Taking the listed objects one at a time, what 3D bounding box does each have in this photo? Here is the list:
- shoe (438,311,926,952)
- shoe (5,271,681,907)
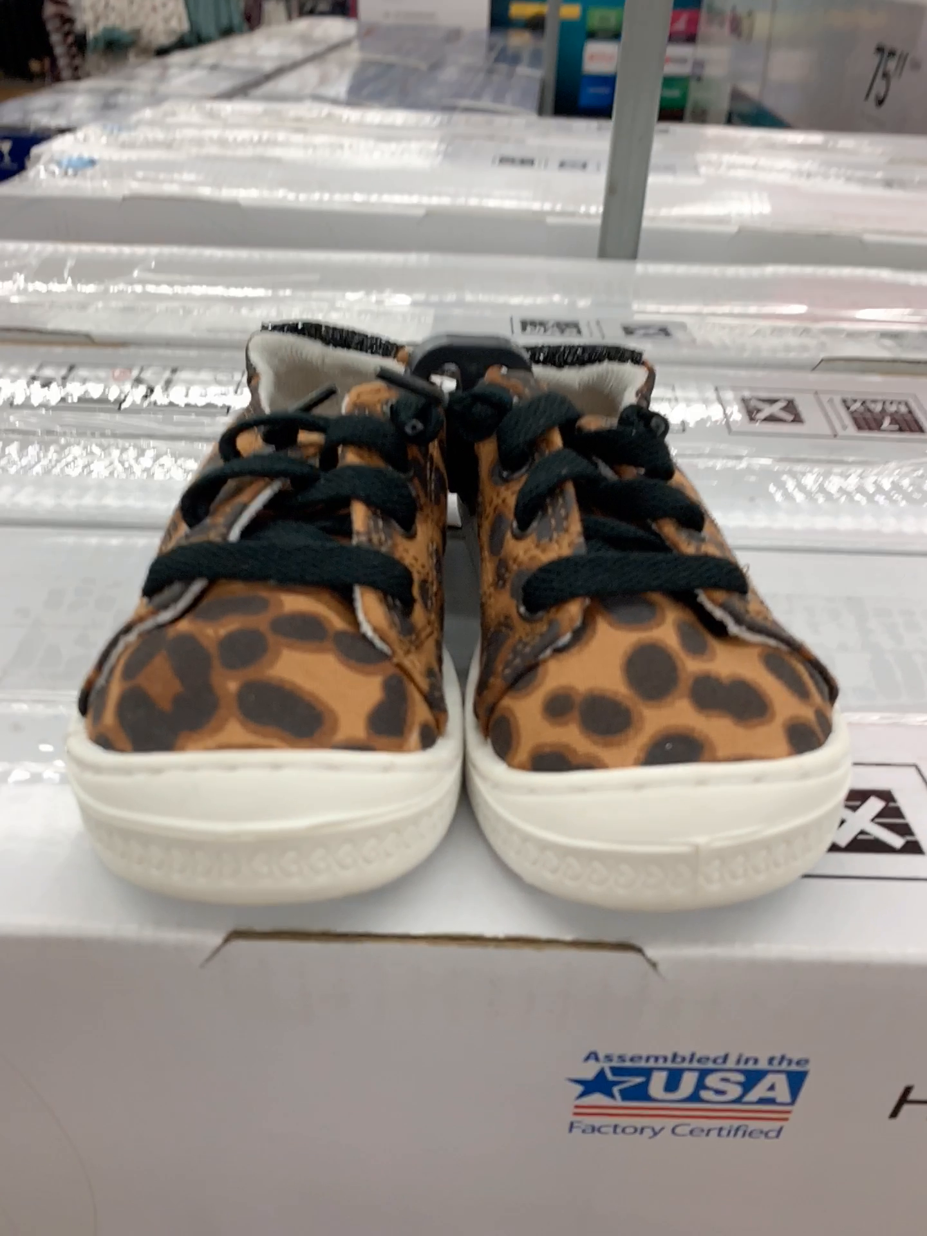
[{"bbox_3d":[0.037,-0.017,0.201,0.080,0.040,0.171,0,35,-3],"label":"shoe"},{"bbox_3d":[-0.015,-0.025,0.195,0.080,0.040,0.171,1,35,-1],"label":"shoe"}]
